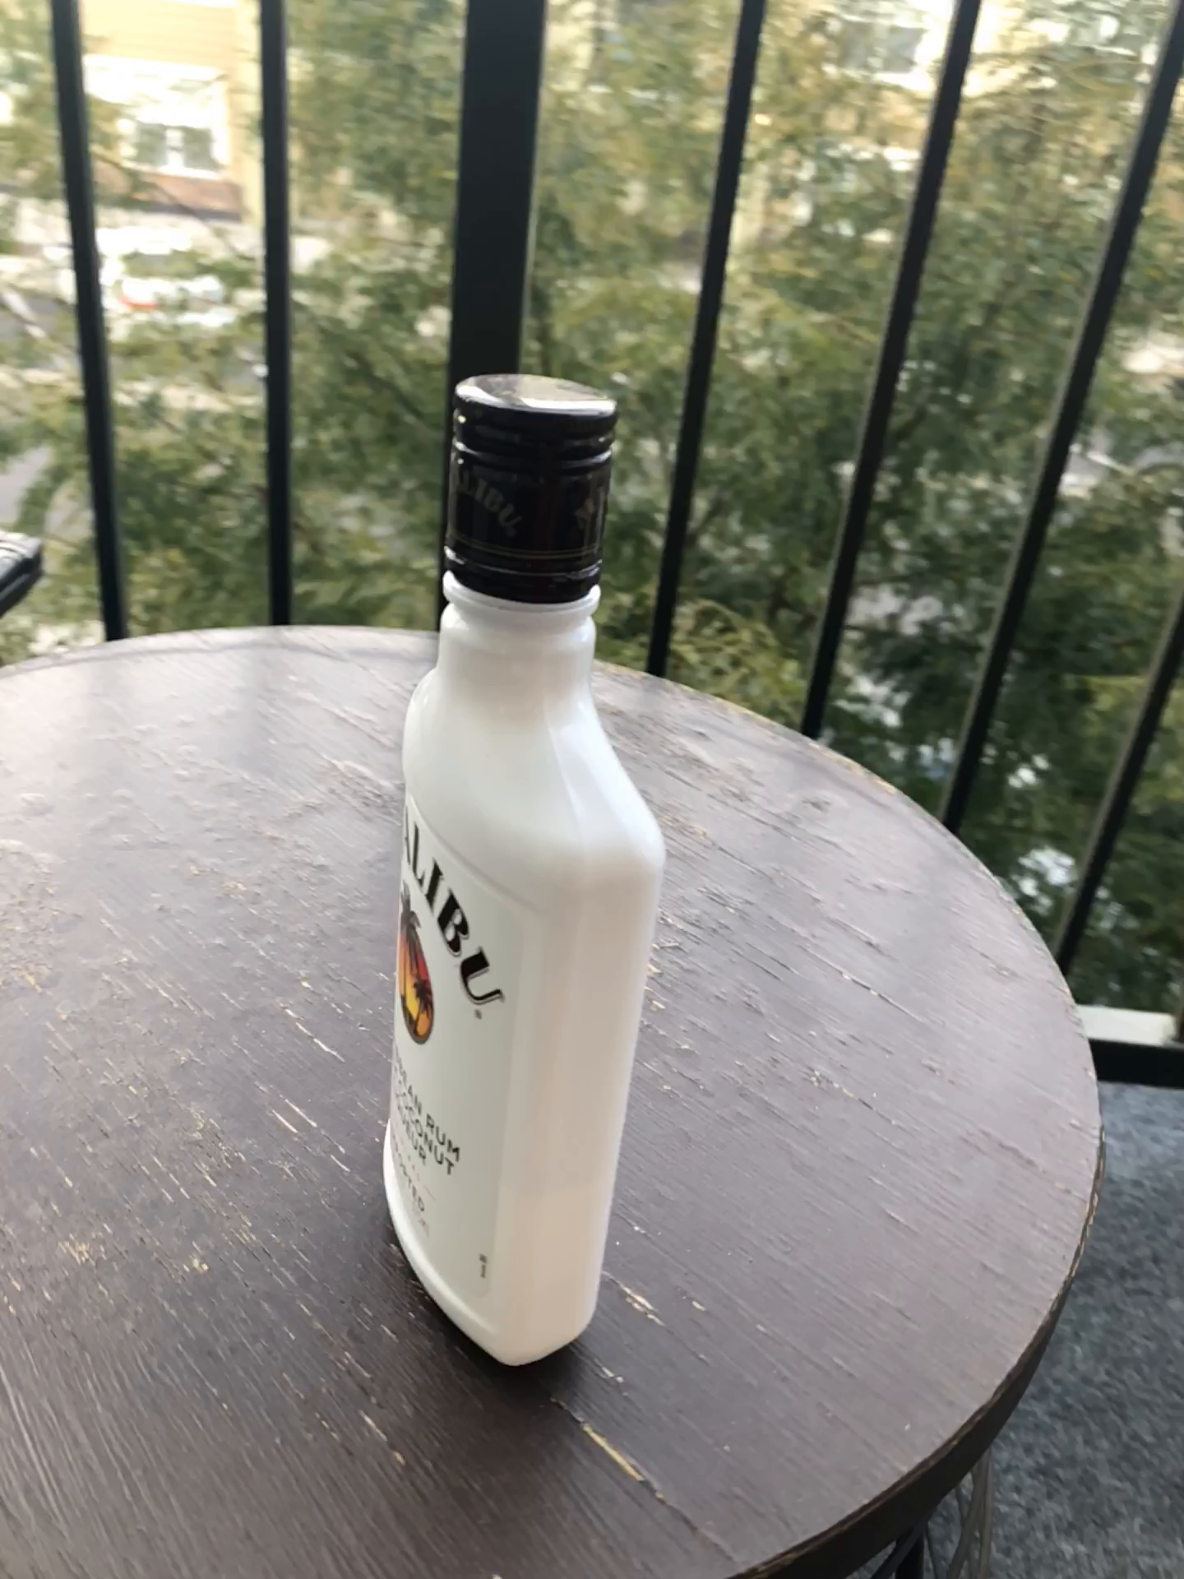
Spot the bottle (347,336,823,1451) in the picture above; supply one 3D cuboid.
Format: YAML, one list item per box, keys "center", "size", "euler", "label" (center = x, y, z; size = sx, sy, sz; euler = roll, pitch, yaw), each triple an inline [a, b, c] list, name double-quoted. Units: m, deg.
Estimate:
- center: [-0.017, 0.025, 0.277]
  size: [0.045, 0.210, 0.100]
  euler: [-8, 34, -23]
  label: "bottle"
